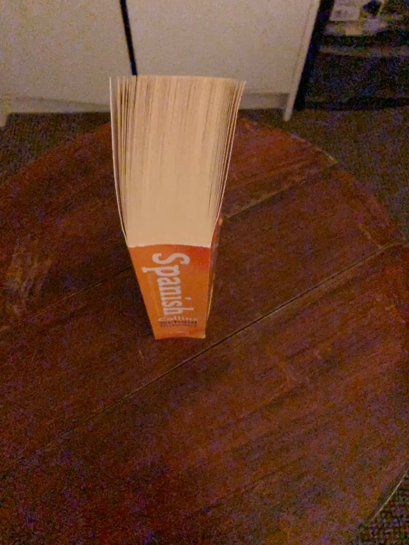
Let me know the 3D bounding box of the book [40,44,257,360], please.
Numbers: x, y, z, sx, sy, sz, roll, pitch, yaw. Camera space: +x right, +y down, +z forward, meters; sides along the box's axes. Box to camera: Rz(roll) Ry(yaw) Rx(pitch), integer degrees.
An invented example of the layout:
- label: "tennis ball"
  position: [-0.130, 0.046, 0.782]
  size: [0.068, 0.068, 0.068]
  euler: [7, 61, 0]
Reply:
- label: "book"
  position: [-0.014, -0.031, 0.276]
  size: [0.080, 0.149, 0.141]
  euler: [3, 68, 11]
